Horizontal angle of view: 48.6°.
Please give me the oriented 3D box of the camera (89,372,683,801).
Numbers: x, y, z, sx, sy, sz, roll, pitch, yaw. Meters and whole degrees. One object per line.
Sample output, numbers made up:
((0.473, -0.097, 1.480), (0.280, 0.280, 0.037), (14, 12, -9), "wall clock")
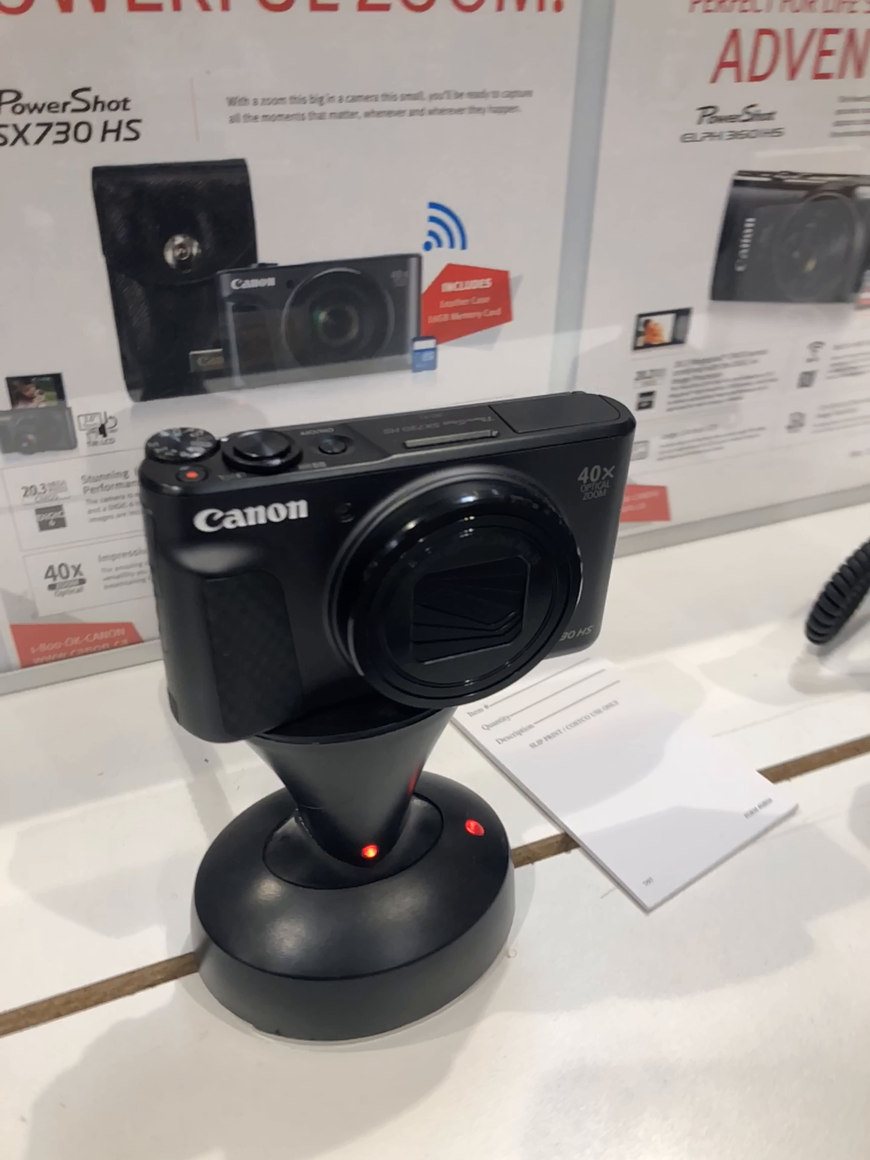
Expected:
((-0.011, -0.002, 0.225), (0.120, 0.070, 0.040), (-10, 36, -19), "camera")
